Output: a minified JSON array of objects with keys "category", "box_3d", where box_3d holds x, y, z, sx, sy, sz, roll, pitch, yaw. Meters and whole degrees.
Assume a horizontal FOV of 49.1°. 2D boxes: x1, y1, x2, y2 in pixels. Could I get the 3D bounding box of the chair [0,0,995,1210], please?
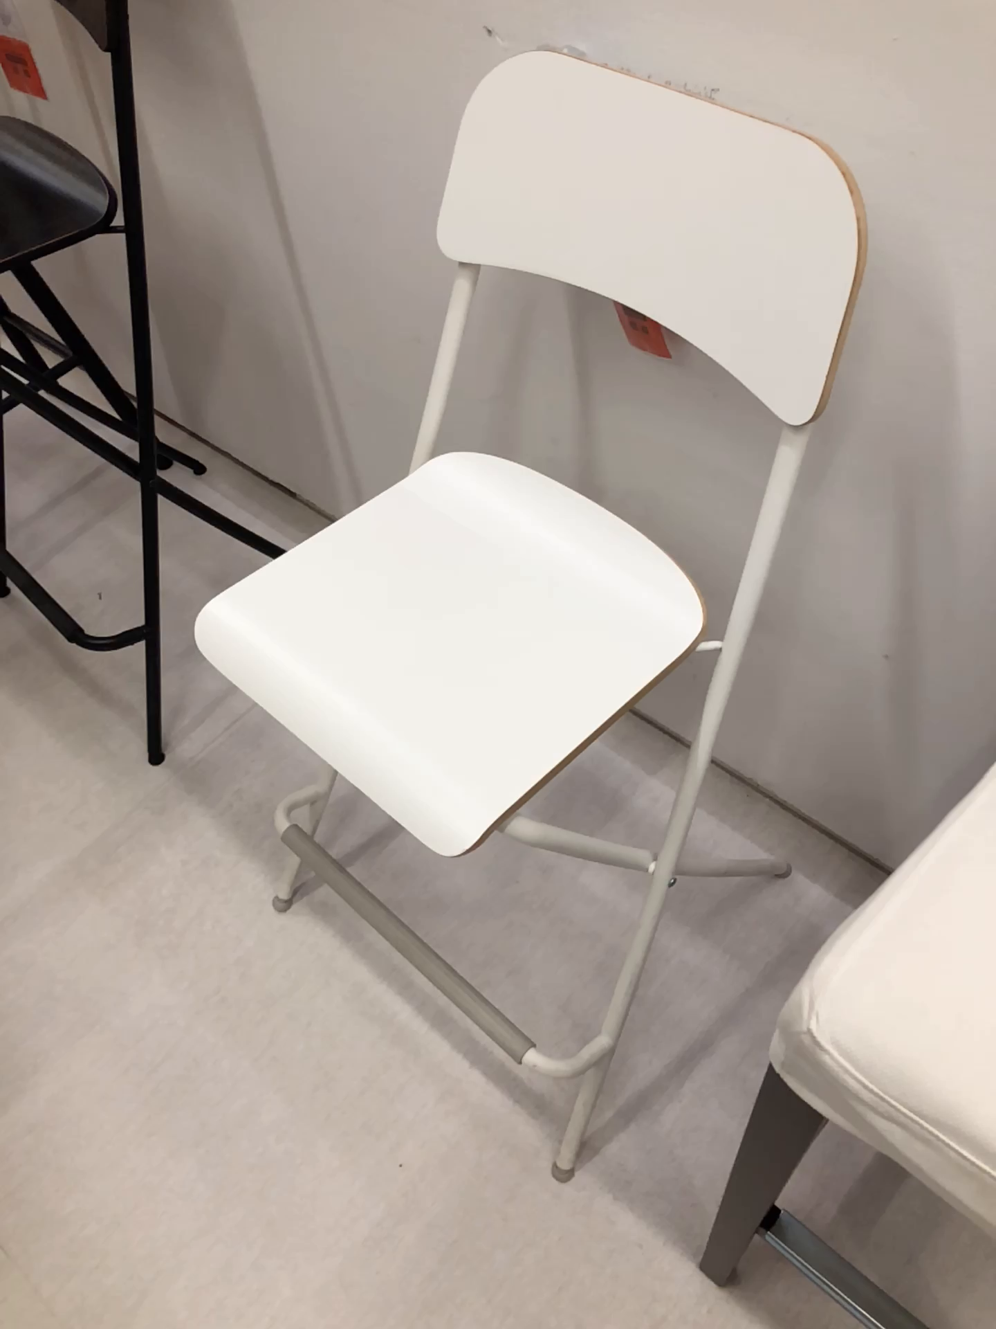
[{"category":"chair","box_3d":[-0.010,0.008,0.993,0.532,0.895,0.481,33,63,28]}]
